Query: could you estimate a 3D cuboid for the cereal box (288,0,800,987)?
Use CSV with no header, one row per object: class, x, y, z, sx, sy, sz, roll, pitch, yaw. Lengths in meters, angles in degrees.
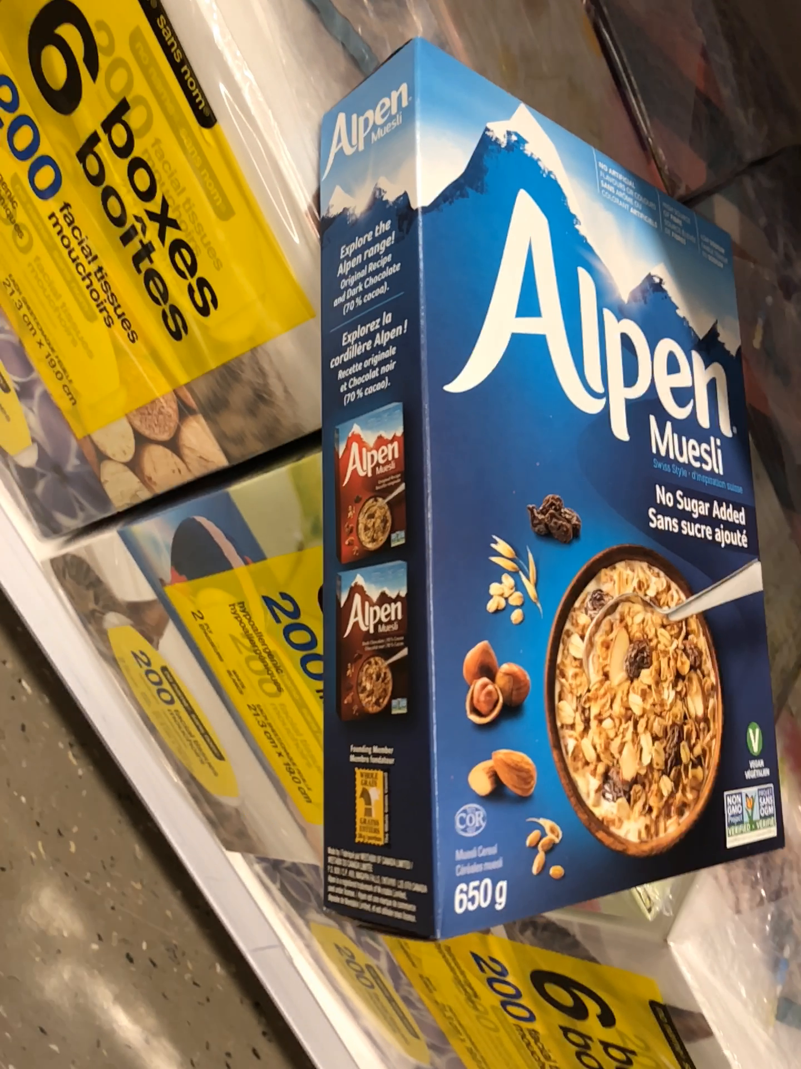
cereal box,0.061,-0.012,0.298,0.201,0.050,0.250,8,77,-41
